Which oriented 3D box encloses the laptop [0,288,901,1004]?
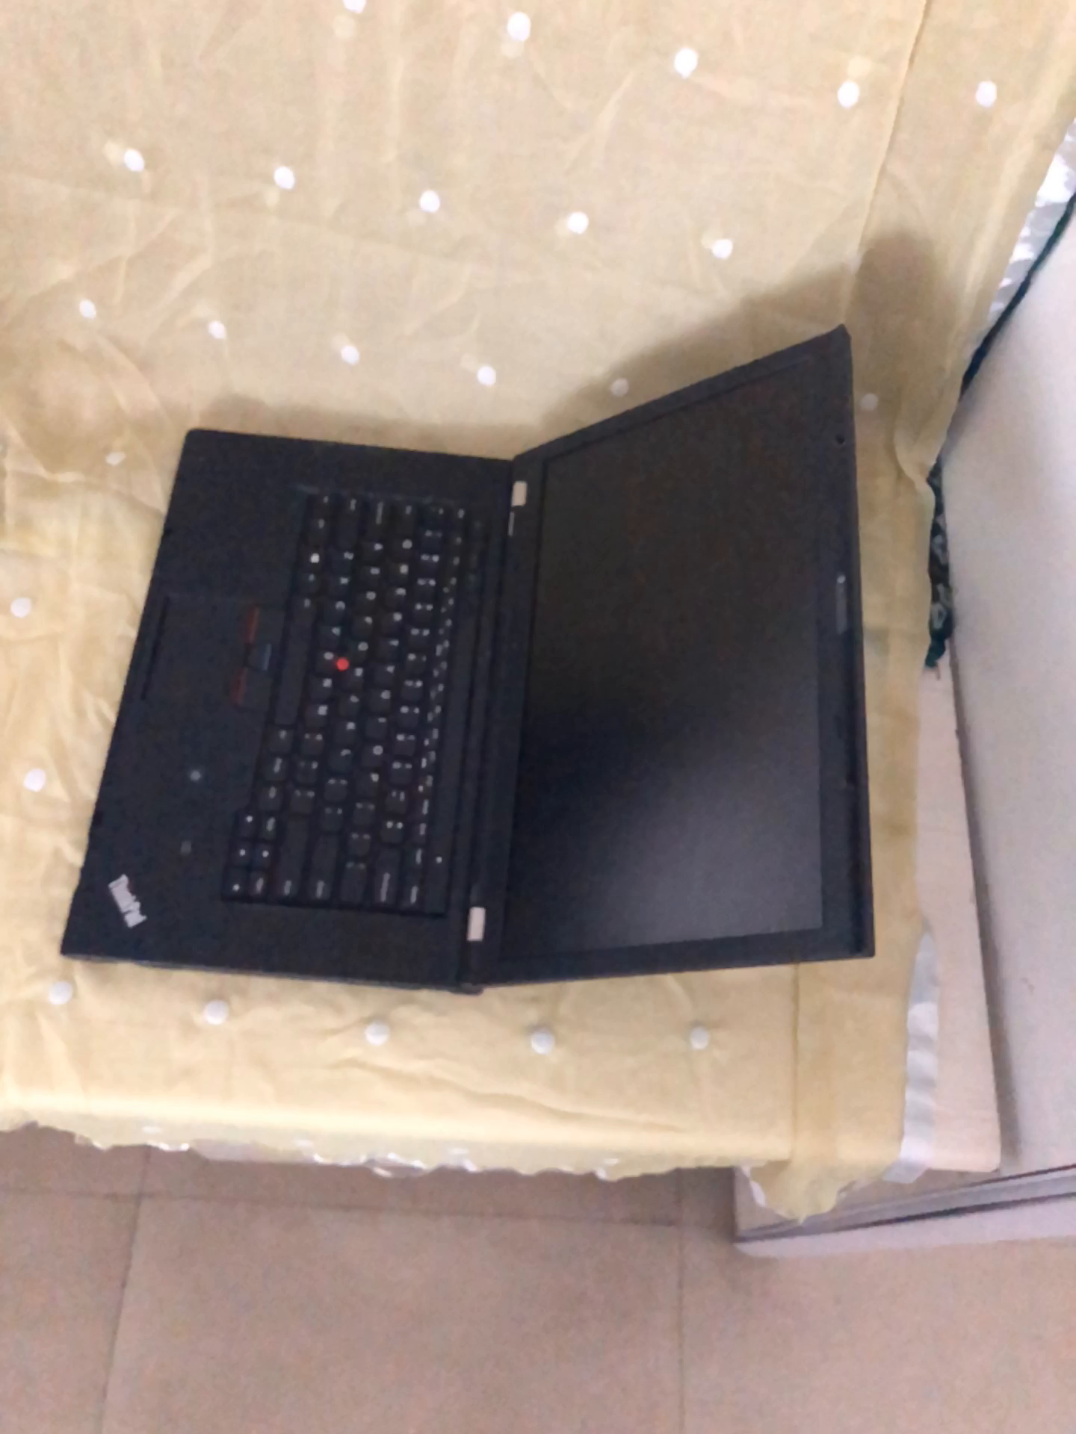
[{"bbox_3d":[-0.041,-0.044,0.689,0.424,0.156,0.348,4,65,2],"label":"laptop"}]
